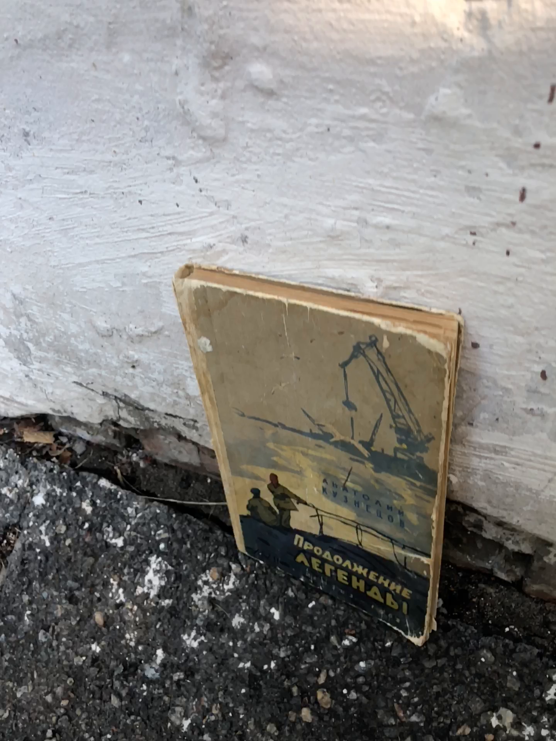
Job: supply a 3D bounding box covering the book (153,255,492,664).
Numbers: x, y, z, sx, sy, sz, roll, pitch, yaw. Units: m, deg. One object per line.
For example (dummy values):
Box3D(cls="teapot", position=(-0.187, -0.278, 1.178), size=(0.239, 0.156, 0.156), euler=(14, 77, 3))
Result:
Box3D(cls="book", position=(0.016, 0.046, 0.297), size=(0.136, 0.181, 0.030), euler=(17, 39, 27))
